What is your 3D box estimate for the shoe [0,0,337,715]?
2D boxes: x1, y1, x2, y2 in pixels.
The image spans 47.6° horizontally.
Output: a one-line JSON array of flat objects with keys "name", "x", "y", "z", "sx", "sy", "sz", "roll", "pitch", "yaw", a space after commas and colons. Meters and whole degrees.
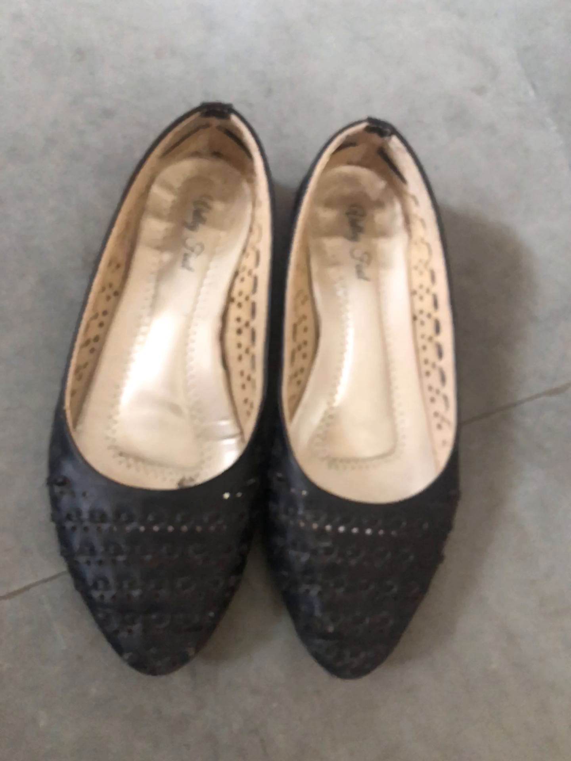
[{"name": "shoe", "x": -0.041, "y": -0.017, "z": 0.273, "sx": 0.100, "sy": 0.070, "sz": 0.270, "roll": 4, "pitch": 81, "yaw": -7}]

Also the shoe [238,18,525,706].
[{"name": "shoe", "x": 0.040, "y": -0.014, "z": 0.295, "sx": 0.100, "sy": 0.070, "sz": 0.280, "roll": 4, "pitch": 76, "yaw": -7}]
